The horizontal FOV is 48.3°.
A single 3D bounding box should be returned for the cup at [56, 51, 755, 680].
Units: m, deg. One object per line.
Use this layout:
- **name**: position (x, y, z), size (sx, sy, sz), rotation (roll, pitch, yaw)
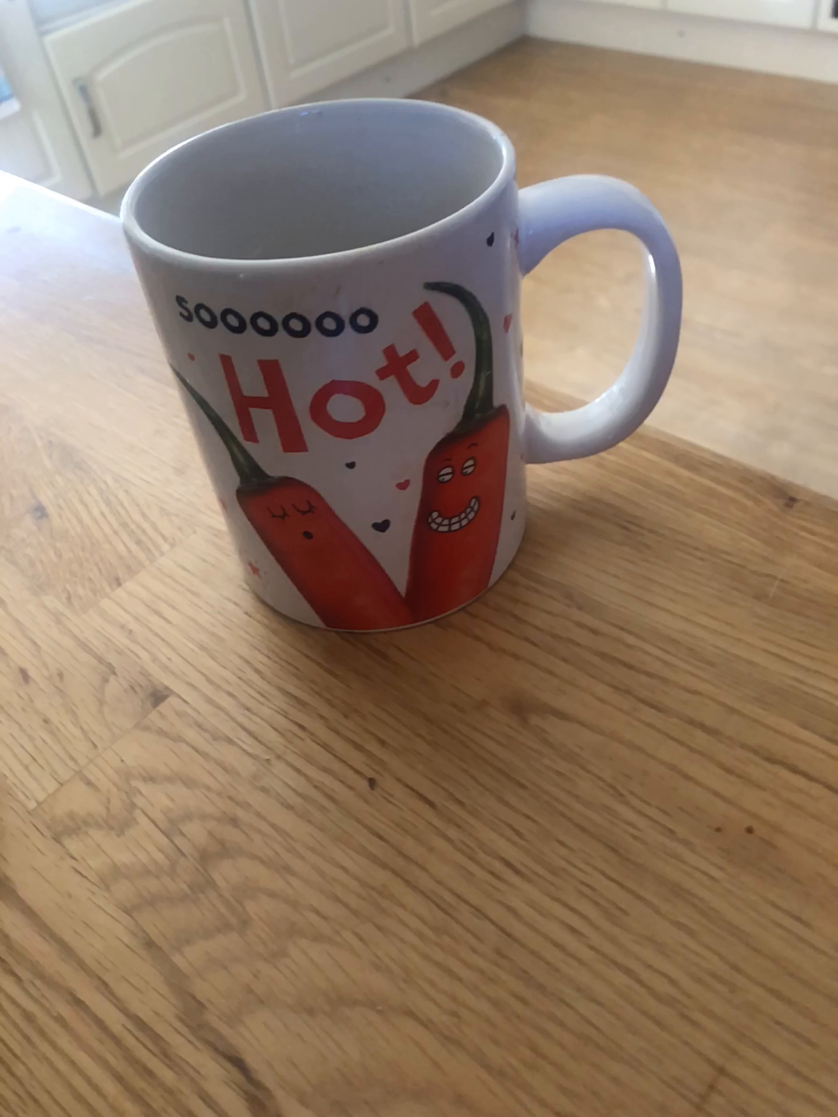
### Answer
- **cup**: position (-0.004, -0.052, 0.251), size (0.136, 0.109, 0.097), rotation (-11, 44, -3)
